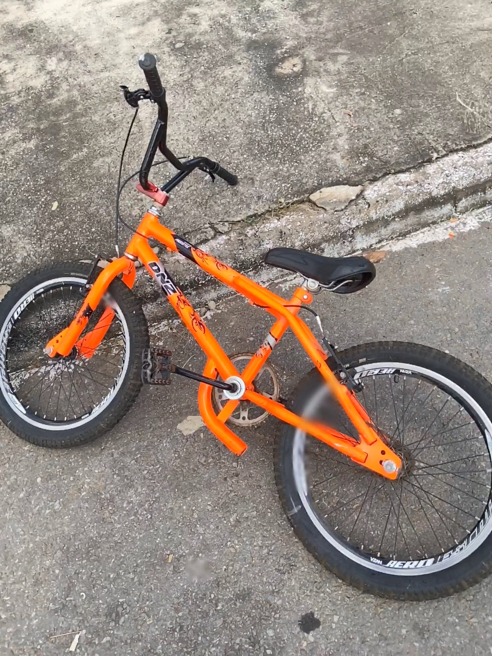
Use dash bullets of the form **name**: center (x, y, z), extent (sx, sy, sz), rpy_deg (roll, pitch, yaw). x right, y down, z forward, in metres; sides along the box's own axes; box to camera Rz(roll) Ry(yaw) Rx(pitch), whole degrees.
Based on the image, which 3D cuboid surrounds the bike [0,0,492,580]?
- **bike**: center (0.051, -0.199, 1.188), extent (1.355, 0.858, 0.748), rpy_deg (19, 56, 23)
